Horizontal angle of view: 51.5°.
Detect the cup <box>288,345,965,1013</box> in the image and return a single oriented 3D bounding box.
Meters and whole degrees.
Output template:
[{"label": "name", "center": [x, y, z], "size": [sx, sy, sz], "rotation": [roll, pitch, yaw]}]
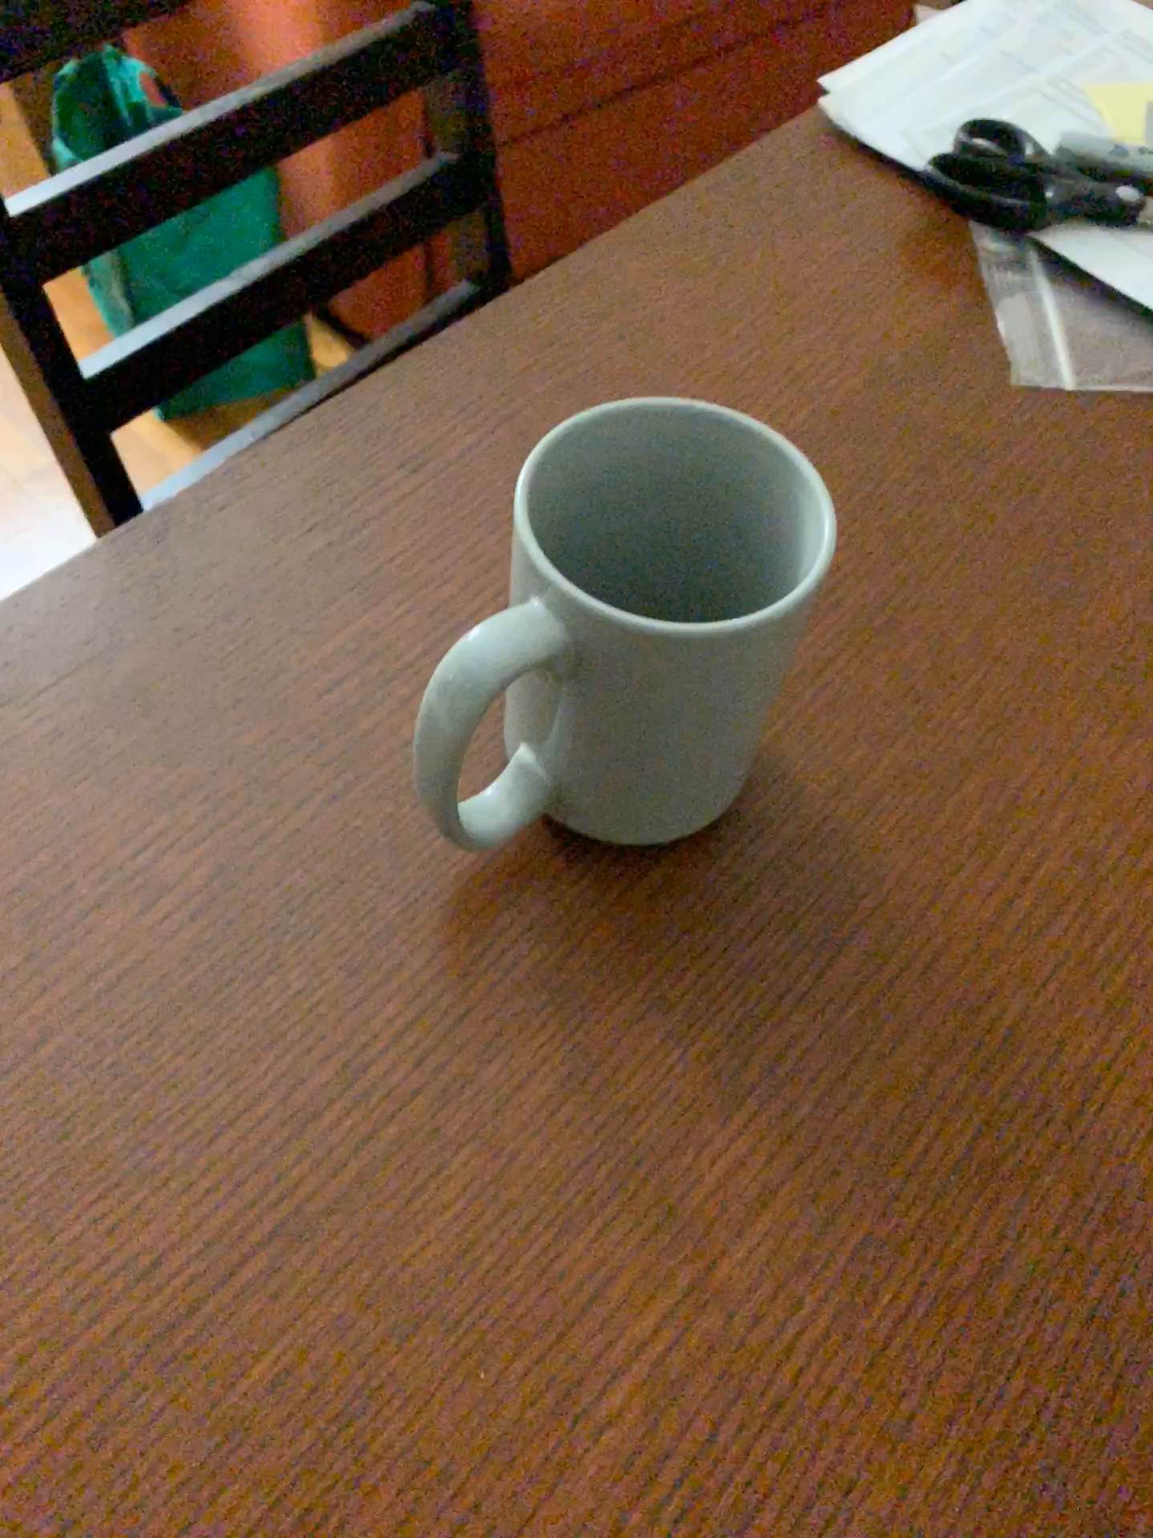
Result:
[{"label": "cup", "center": [0.010, -0.026, 0.347], "size": [0.140, 0.110, 0.100], "rotation": [-30, 65, -22]}]
